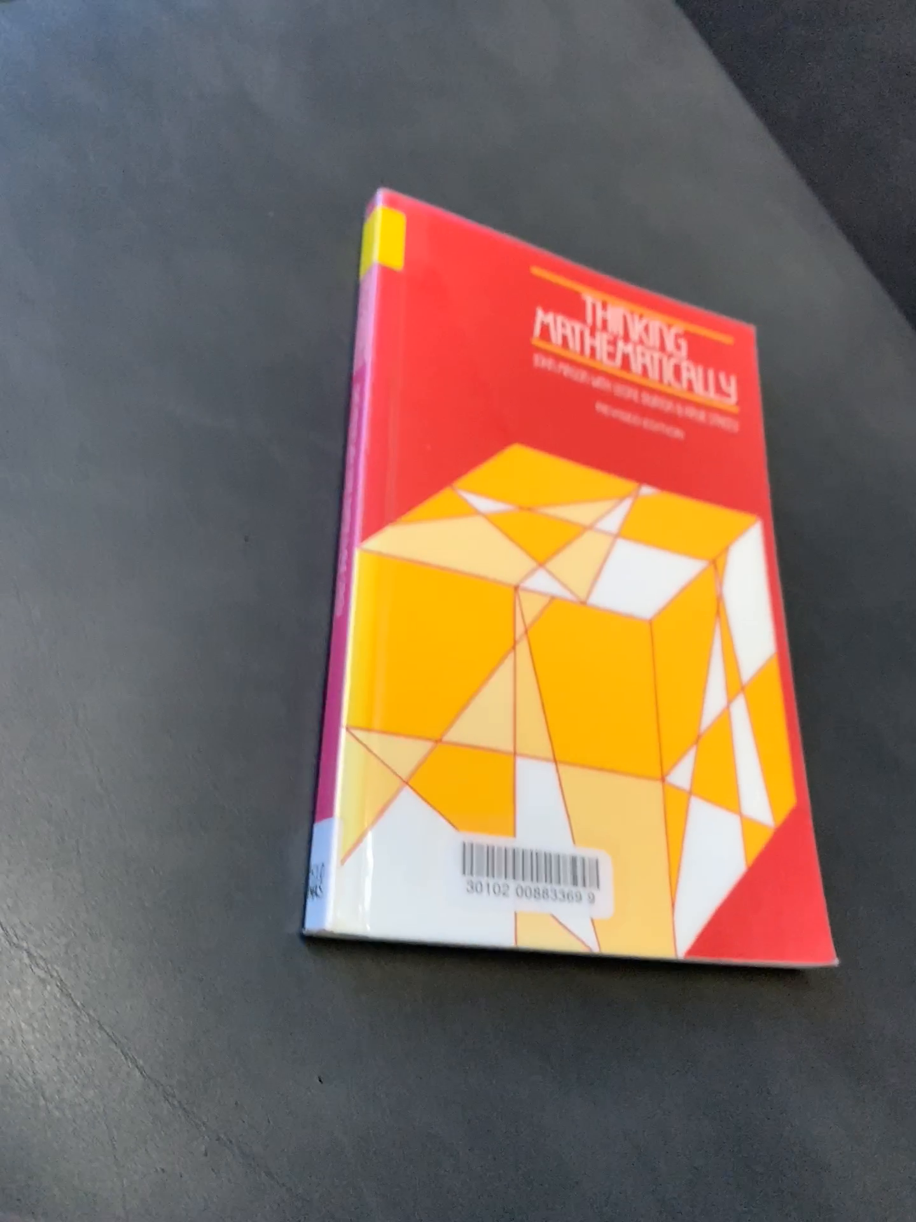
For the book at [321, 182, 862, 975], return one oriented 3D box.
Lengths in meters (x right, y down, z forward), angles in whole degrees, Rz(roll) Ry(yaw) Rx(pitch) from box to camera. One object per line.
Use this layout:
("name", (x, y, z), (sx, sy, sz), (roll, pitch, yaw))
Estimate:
("book", (0.045, -0.015, 0.298), (0.157, 0.016, 0.232), (12, 63, -23))
